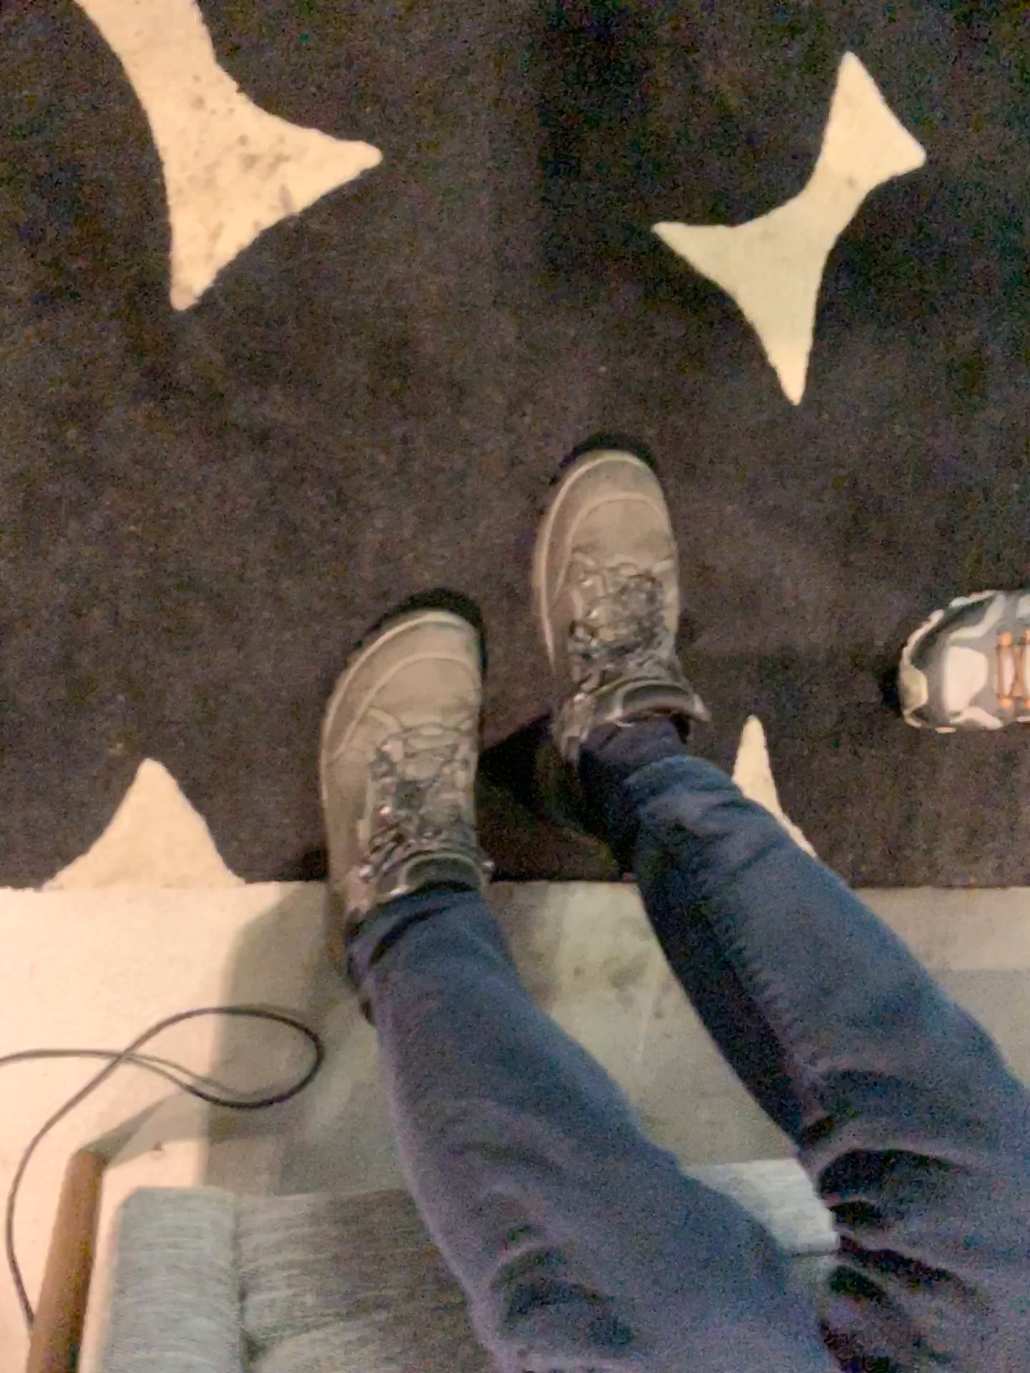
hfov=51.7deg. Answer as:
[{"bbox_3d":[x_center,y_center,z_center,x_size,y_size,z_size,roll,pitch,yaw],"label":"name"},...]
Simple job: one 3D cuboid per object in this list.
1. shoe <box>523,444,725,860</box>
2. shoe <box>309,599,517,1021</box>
[{"bbox_3d":[0.079,-0.029,0.783,0.121,0.077,0.288,-6,103,-17],"label":"shoe"},{"bbox_3d":[-0.078,0.086,0.763,0.119,0.077,0.285,1,102,-18],"label":"shoe"}]
